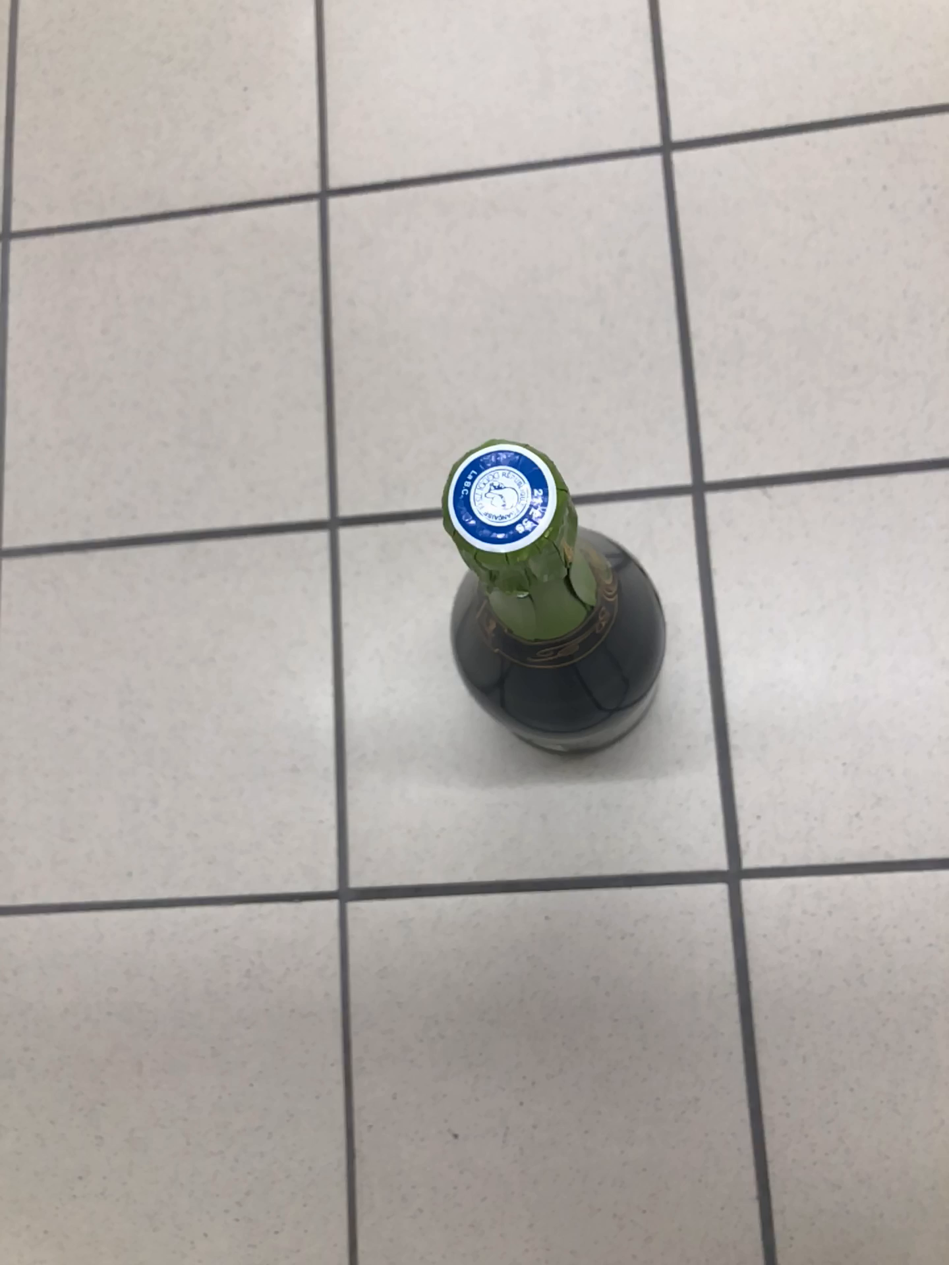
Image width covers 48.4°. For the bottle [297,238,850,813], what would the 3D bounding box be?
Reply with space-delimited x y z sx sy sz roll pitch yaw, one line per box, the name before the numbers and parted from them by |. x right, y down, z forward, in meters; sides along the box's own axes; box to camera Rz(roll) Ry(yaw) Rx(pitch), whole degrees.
bottle | 0.043 -0.003 0.403 0.090 0.310 0.100 -37 76 0
